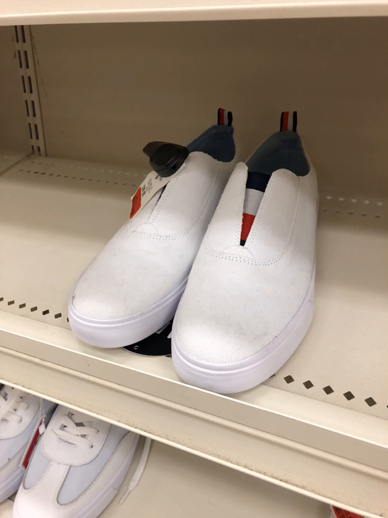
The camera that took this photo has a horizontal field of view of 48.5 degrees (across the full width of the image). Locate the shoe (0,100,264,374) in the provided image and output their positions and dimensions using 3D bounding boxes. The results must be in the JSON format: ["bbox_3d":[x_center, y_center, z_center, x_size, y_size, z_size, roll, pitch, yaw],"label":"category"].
[{"bbox_3d":[-0.030,-0.051,0.376,0.100,0.089,0.292,11,37,22],"label":"shoe"}]

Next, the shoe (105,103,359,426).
[{"bbox_3d":[0.061,-0.033,0.365,0.100,0.109,0.302,11,37,22],"label":"shoe"}]
